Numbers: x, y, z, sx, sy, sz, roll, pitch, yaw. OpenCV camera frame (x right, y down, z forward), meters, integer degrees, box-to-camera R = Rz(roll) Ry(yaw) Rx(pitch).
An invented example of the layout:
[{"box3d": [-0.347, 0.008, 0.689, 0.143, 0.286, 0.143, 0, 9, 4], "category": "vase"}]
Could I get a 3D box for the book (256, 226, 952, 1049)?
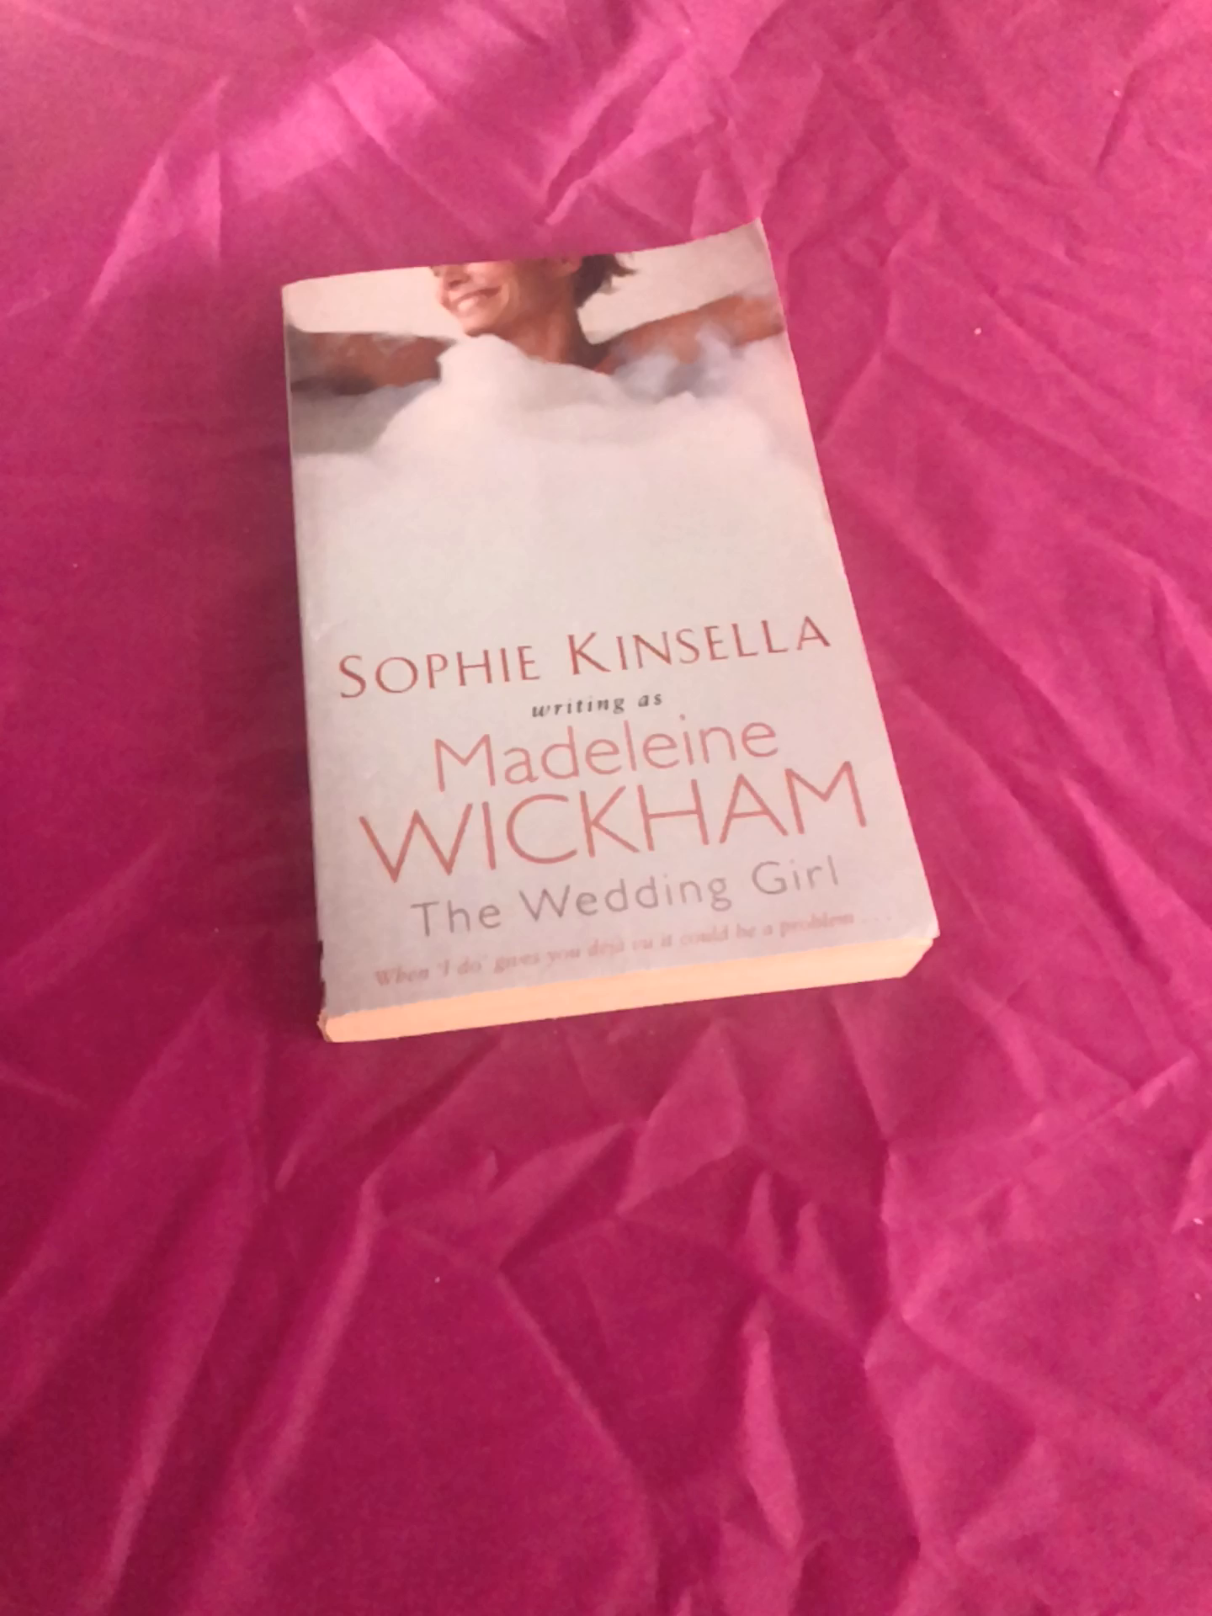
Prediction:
[{"box3d": [-0.010, -0.052, 0.319, 0.135, 0.027, 0.202, -5, 65, -6], "category": "book"}]
